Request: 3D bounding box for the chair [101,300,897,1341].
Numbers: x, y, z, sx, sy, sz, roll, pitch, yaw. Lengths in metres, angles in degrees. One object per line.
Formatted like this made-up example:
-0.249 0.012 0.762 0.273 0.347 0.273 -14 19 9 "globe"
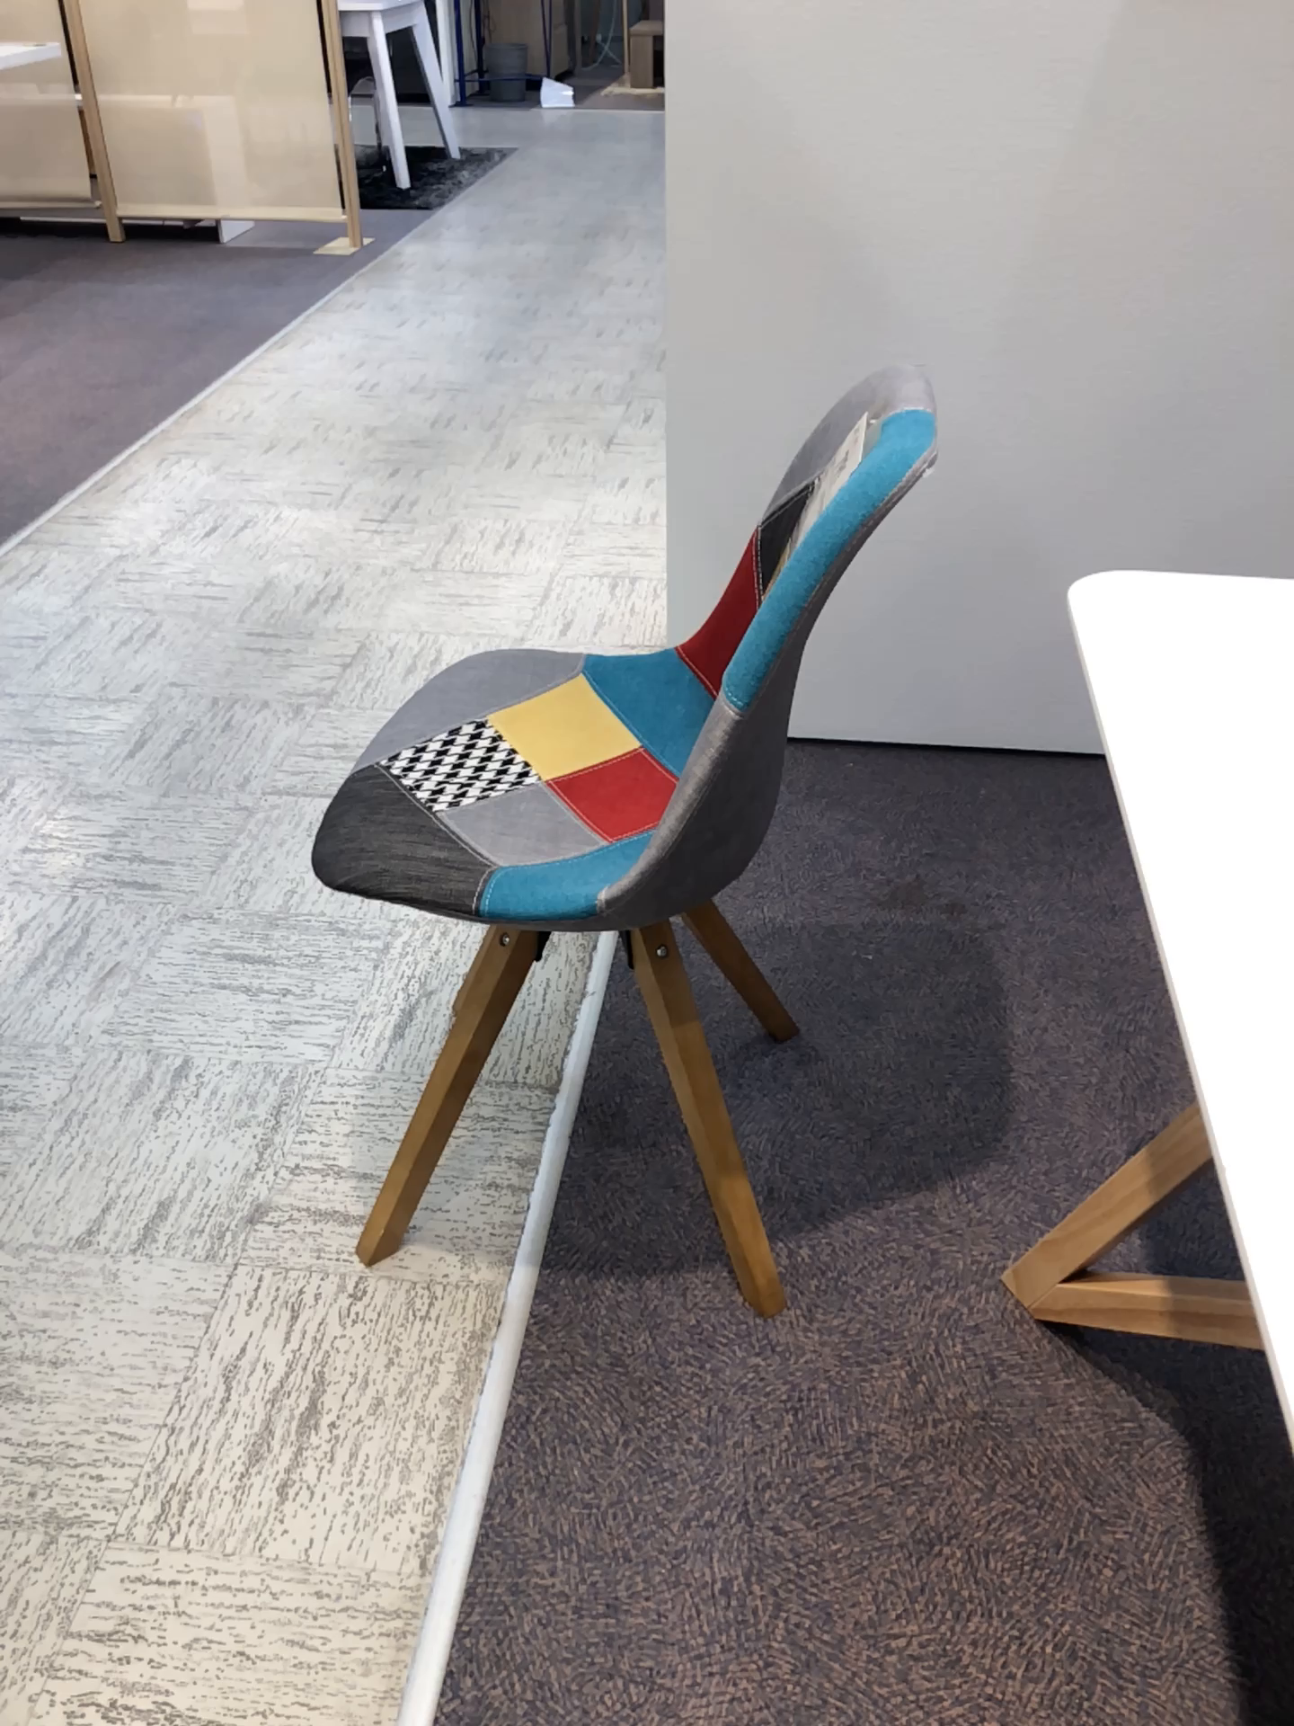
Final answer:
-0.069 -0.038 1.308 0.510 0.815 0.473 3 33 5 "chair"
